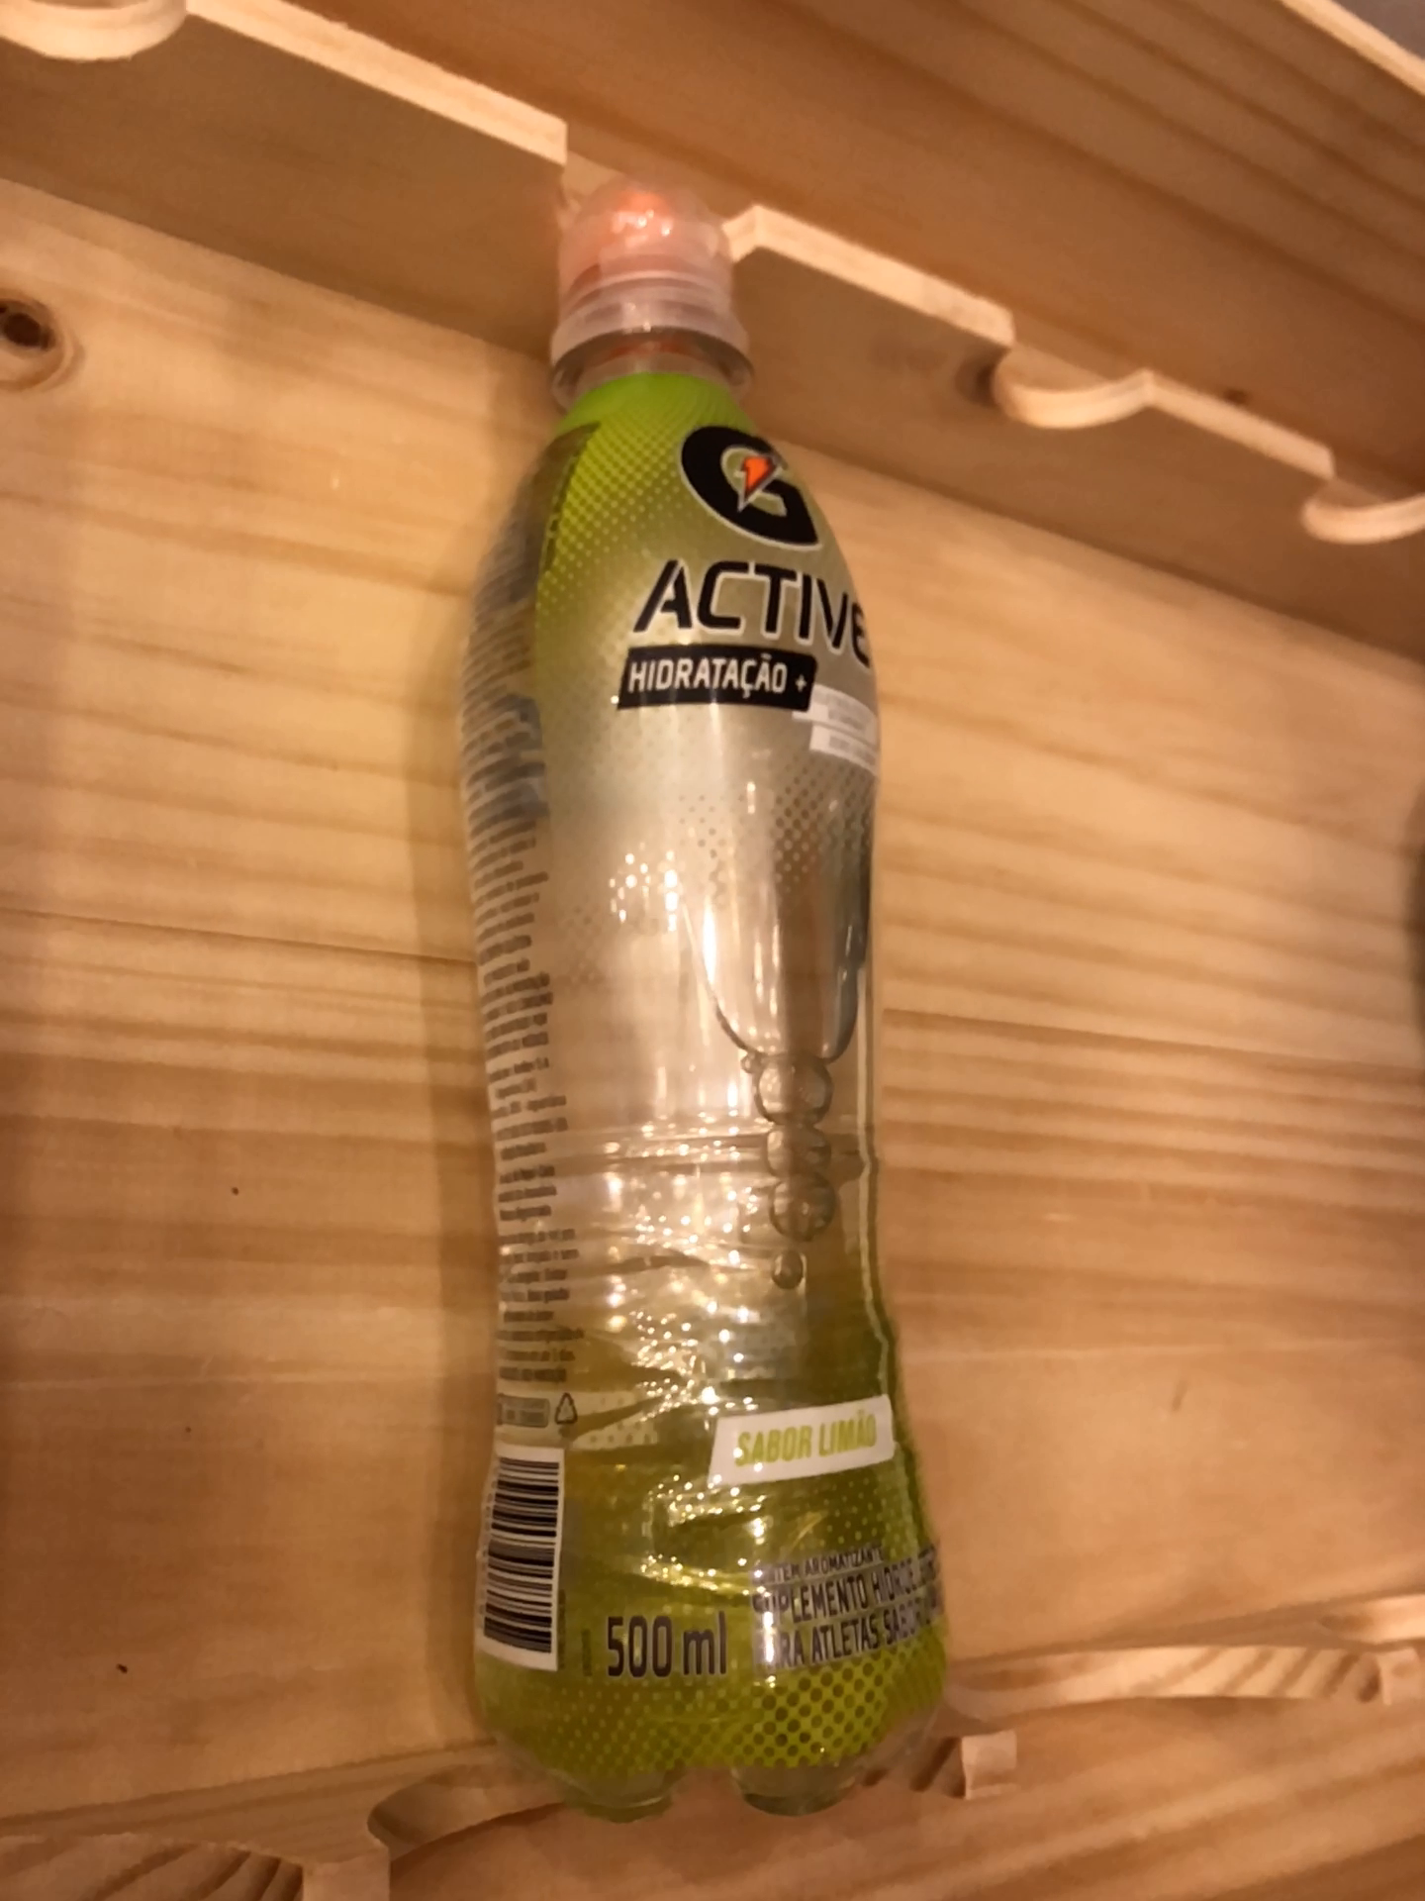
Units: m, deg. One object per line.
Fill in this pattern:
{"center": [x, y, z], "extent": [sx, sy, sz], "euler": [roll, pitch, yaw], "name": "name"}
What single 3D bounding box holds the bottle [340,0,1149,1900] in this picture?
{"center": [-0.006, -0.017, 0.239], "extent": [0.070, 0.070, 0.270], "euler": [5, 73, -33], "name": "bottle"}
